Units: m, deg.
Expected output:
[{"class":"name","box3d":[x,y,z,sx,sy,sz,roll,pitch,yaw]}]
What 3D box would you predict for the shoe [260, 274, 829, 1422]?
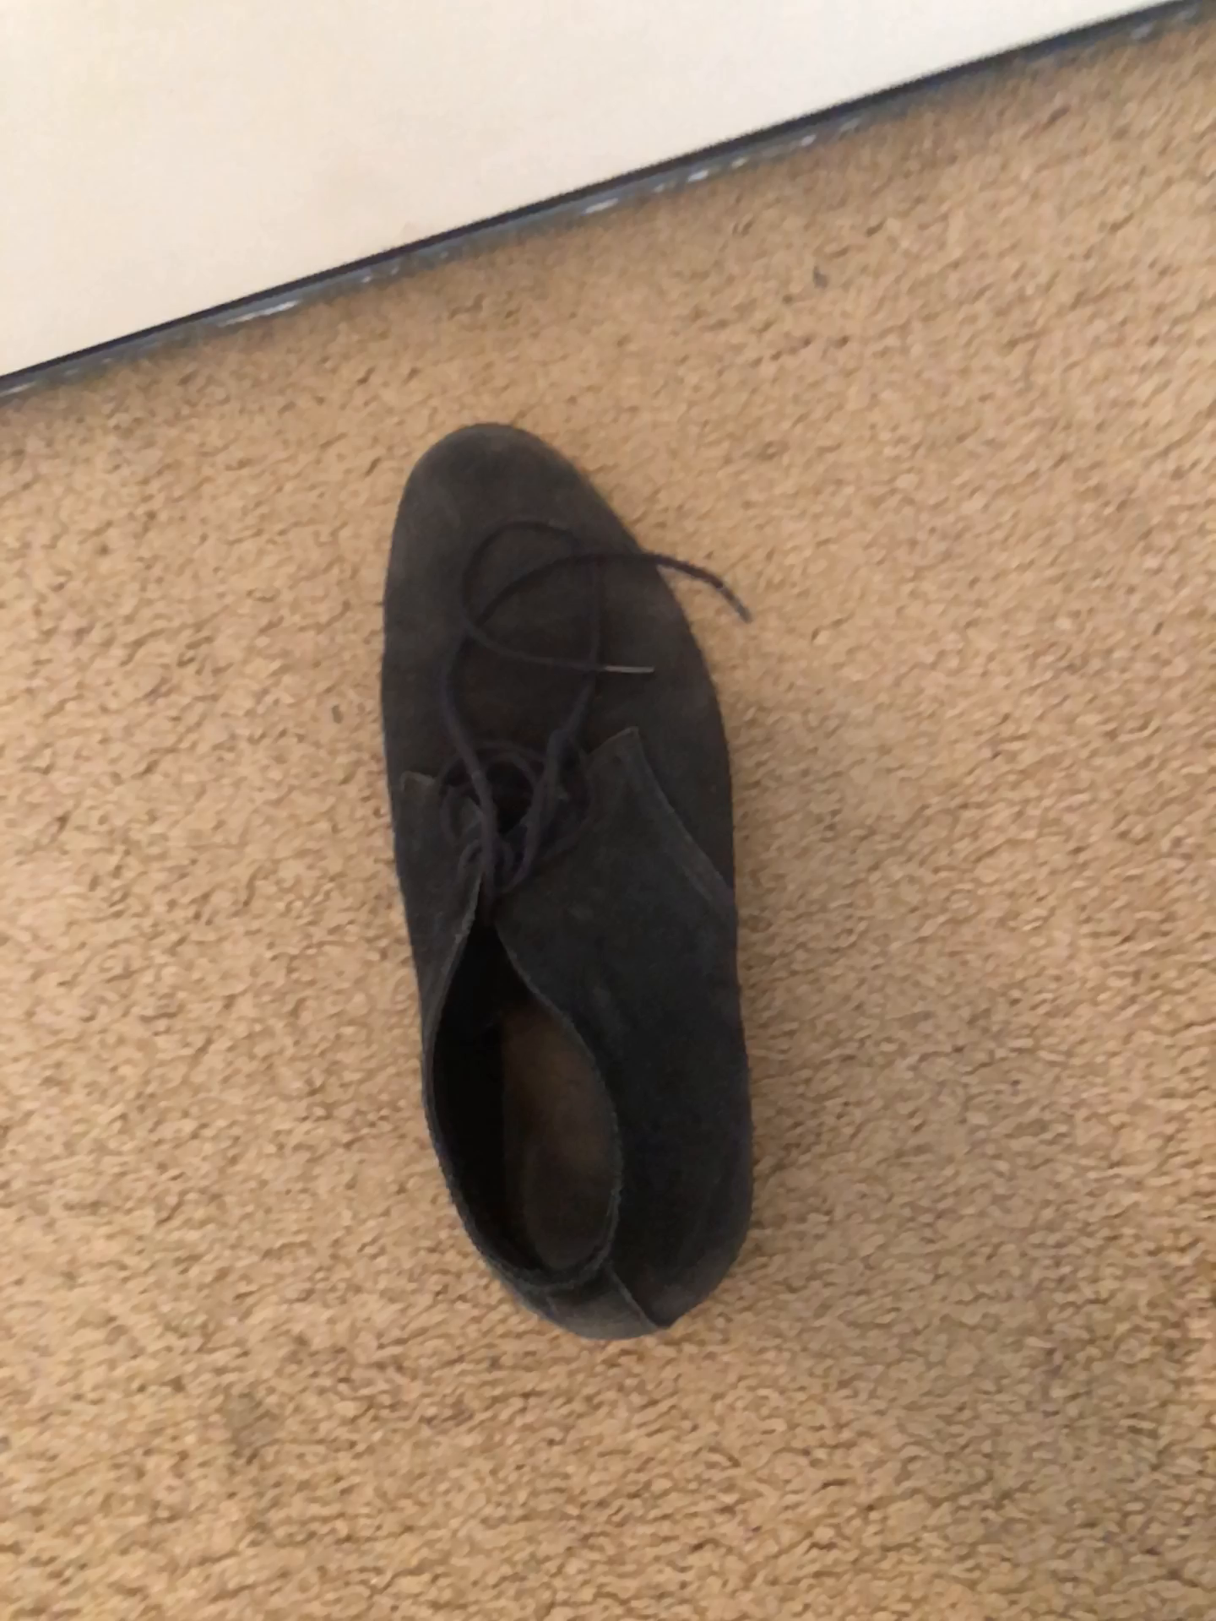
[{"class":"shoe","box3d":[-0.018,0.008,0.383,0.102,0.095,0.279,-12,74,10]}]
